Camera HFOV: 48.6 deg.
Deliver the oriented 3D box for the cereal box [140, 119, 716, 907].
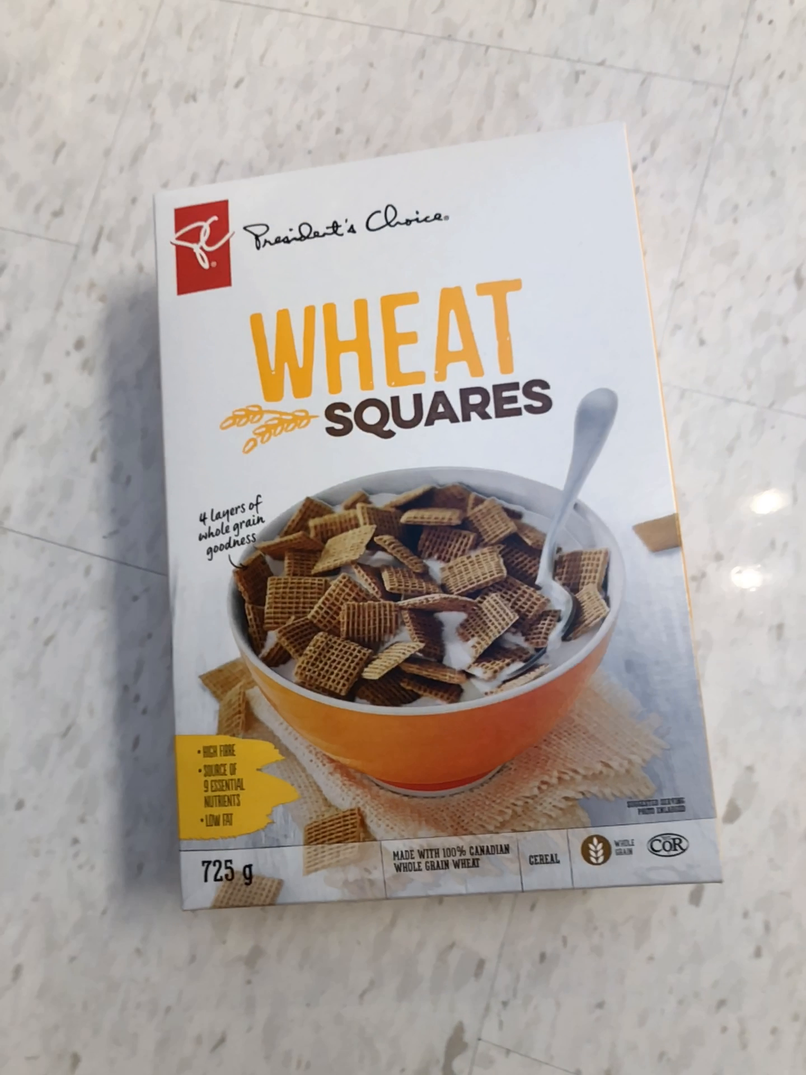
[{"bbox_3d":[0.003,-0.009,0.383,0.200,0.080,0.290,-6,80,7],"label":"cereal box"}]
